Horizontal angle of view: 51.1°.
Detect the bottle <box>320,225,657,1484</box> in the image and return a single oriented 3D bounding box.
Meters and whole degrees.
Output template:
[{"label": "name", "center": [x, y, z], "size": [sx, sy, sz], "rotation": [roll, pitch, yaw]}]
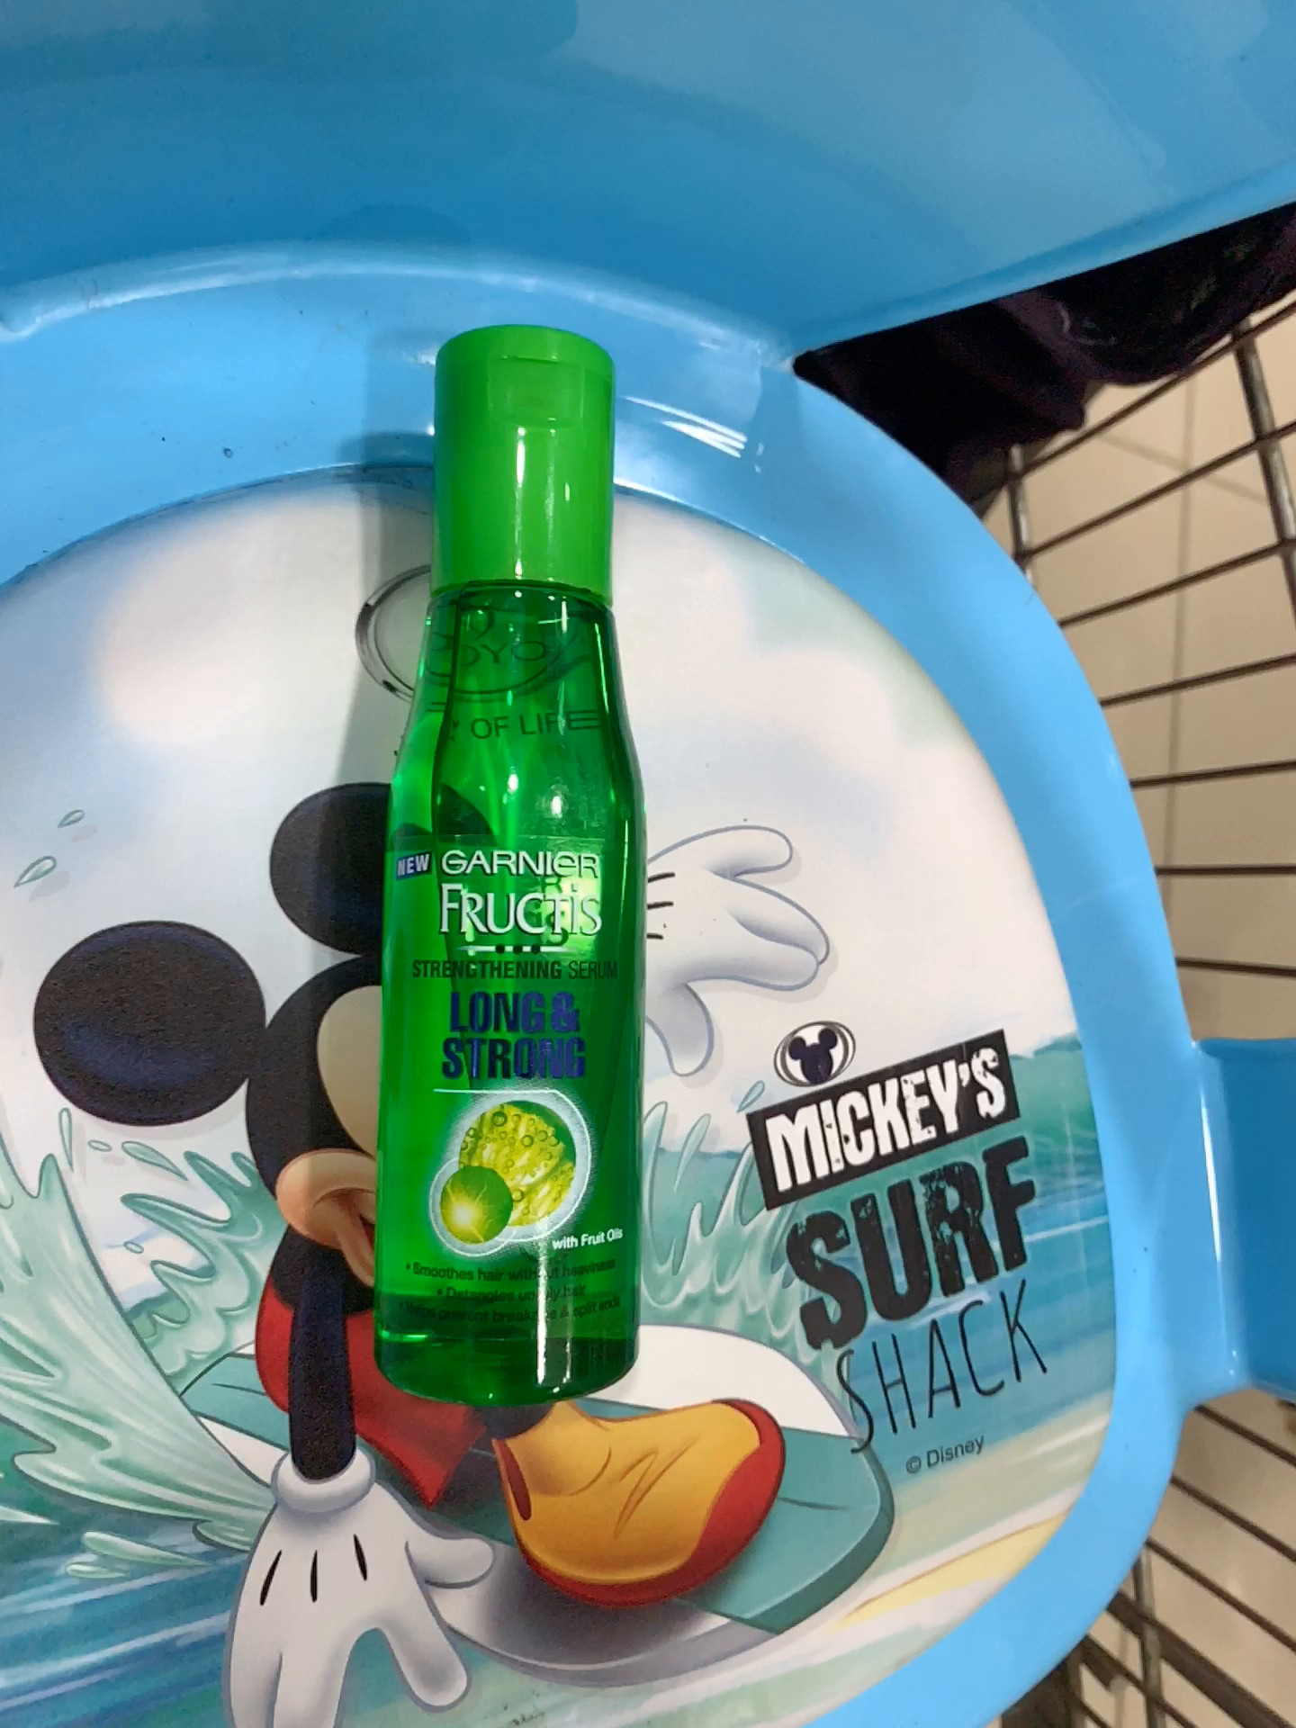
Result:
[{"label": "bottle", "center": [-0.020, -0.003, 0.192], "size": [0.040, 0.040, 0.160], "rotation": [0, 85, 2]}]
